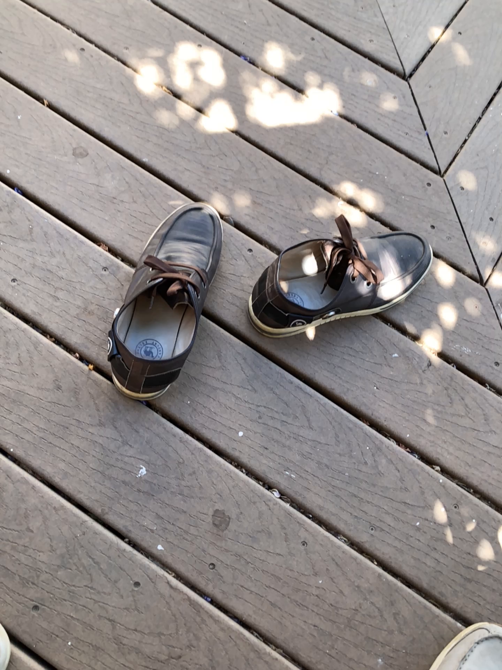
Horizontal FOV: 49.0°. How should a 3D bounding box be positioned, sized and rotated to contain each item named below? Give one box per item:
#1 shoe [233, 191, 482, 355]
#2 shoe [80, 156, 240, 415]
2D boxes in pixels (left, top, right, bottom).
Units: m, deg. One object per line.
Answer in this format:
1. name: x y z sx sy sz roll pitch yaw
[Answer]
1. shoe: 0.142 -0.087 0.771 0.303 0.121 0.108 -18 72 -15
2. shoe: -0.110 -0.065 0.725 0.108 0.121 0.301 15 67 -2
